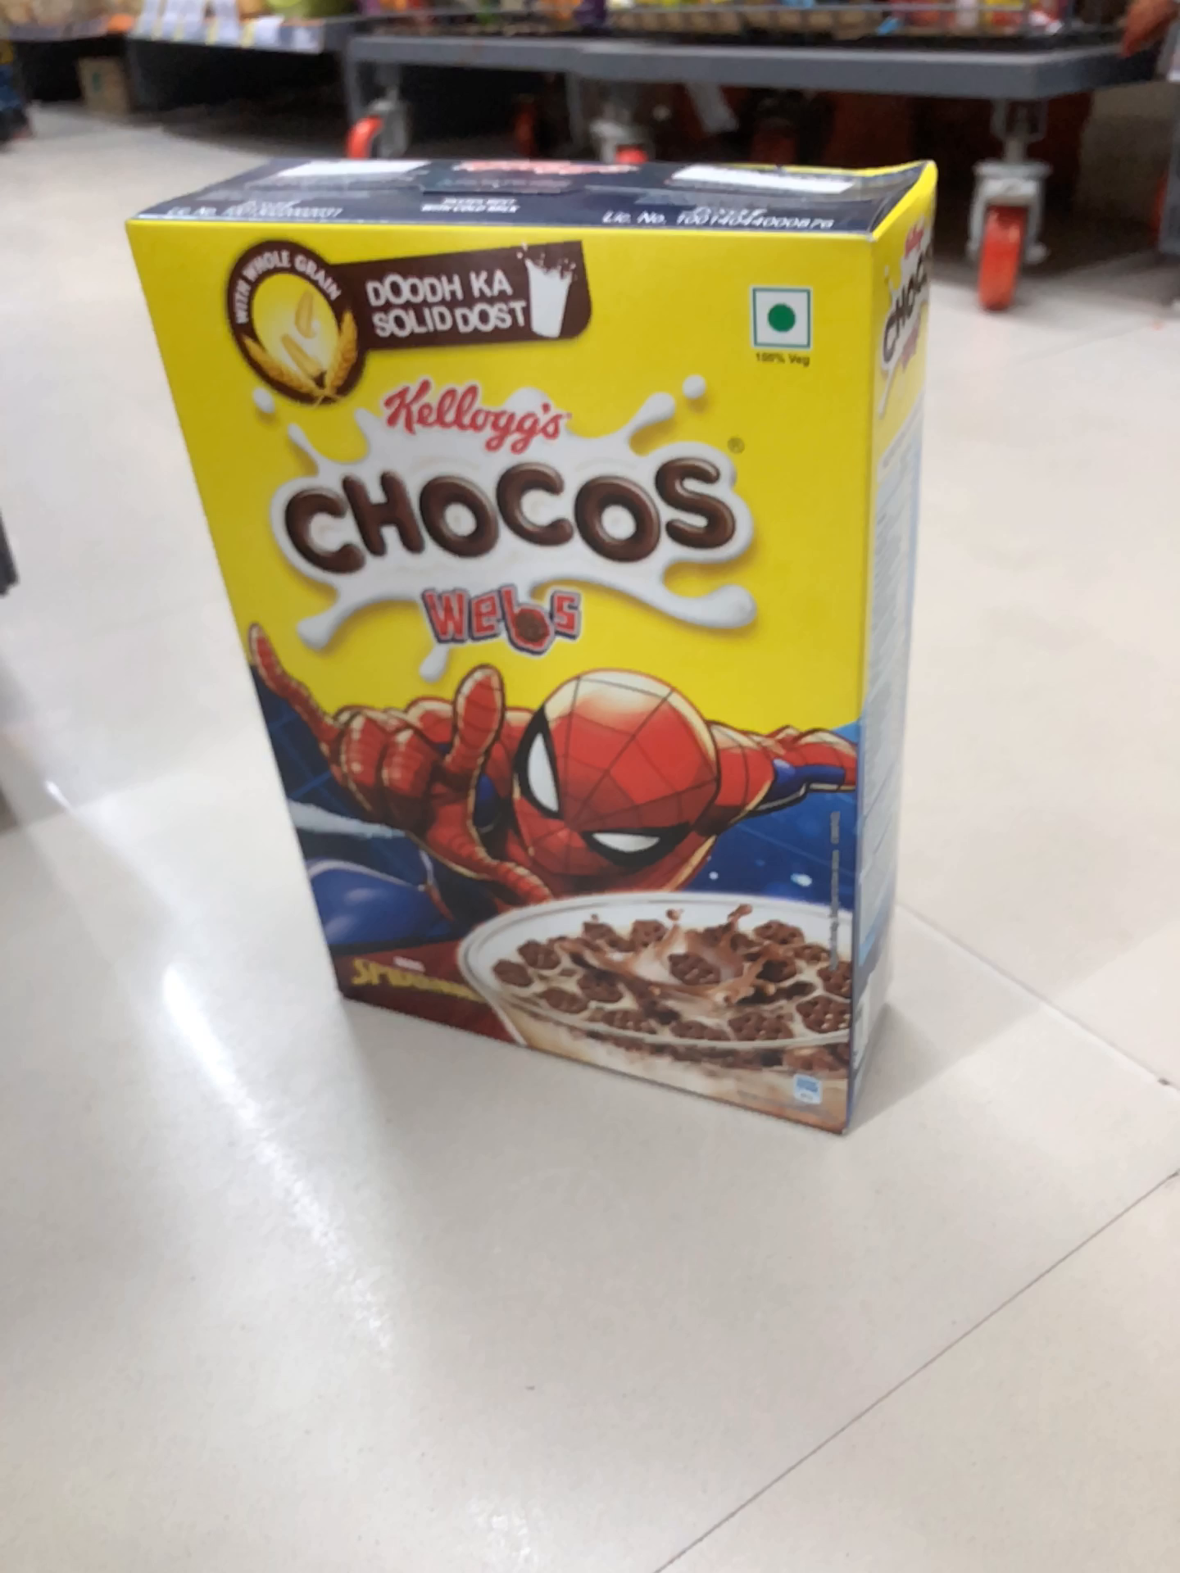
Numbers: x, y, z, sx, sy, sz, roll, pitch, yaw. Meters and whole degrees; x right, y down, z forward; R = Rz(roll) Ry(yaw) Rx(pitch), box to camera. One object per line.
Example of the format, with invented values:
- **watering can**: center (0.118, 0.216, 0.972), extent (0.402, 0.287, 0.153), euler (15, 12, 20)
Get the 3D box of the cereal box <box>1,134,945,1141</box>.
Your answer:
- **cereal box**: center (-0.018, -0.038, 0.350), extent (0.190, 0.229, 0.080), euler (11, 38, 23)
